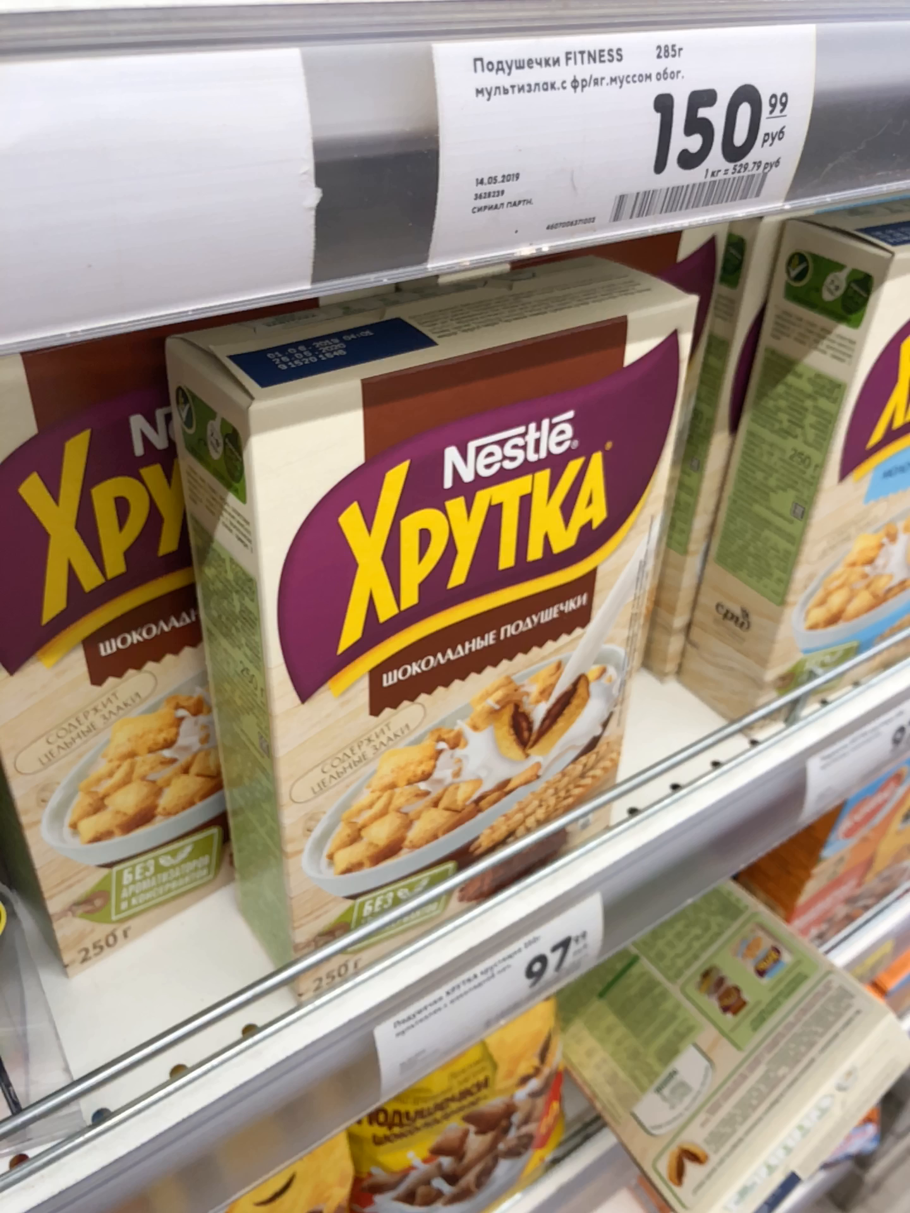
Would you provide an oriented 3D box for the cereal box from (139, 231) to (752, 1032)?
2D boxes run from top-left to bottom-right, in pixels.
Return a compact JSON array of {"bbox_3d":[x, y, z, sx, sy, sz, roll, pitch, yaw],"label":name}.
[{"bbox_3d":[0.002,0.011,0.317,0.160,0.219,0.040,-21,40,-30],"label":"cereal box"}]
